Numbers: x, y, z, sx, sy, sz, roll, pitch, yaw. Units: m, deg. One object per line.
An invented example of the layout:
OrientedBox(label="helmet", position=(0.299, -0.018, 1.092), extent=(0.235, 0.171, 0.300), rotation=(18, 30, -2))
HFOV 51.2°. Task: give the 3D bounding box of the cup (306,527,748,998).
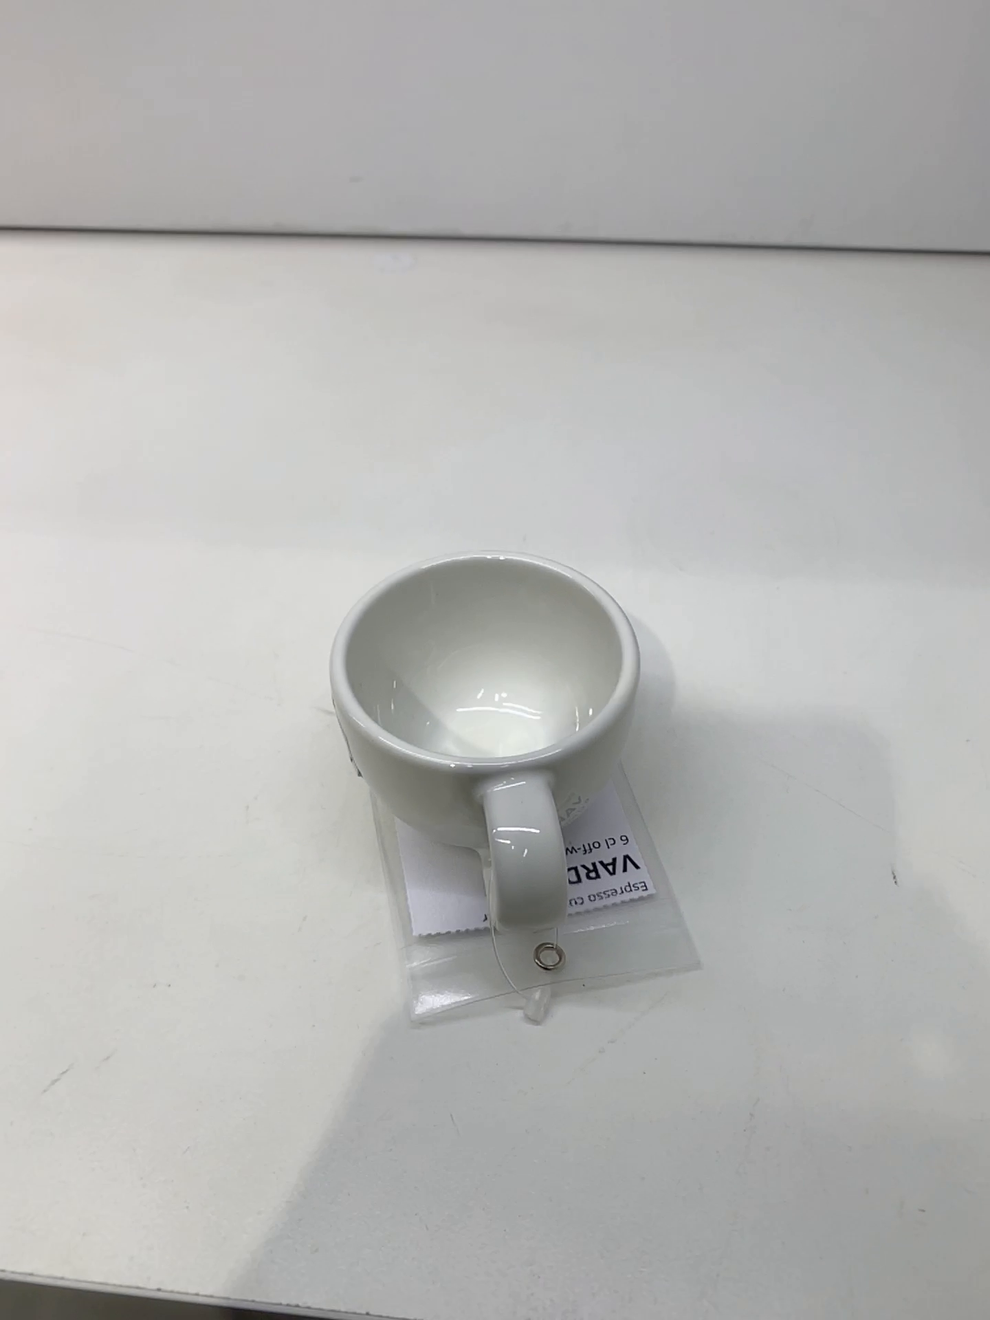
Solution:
OrientedBox(label="cup", position=(0.001, 0.017, 0.213), extent=(0.070, 0.040, 0.080), rotation=(-8, 45, -7))
